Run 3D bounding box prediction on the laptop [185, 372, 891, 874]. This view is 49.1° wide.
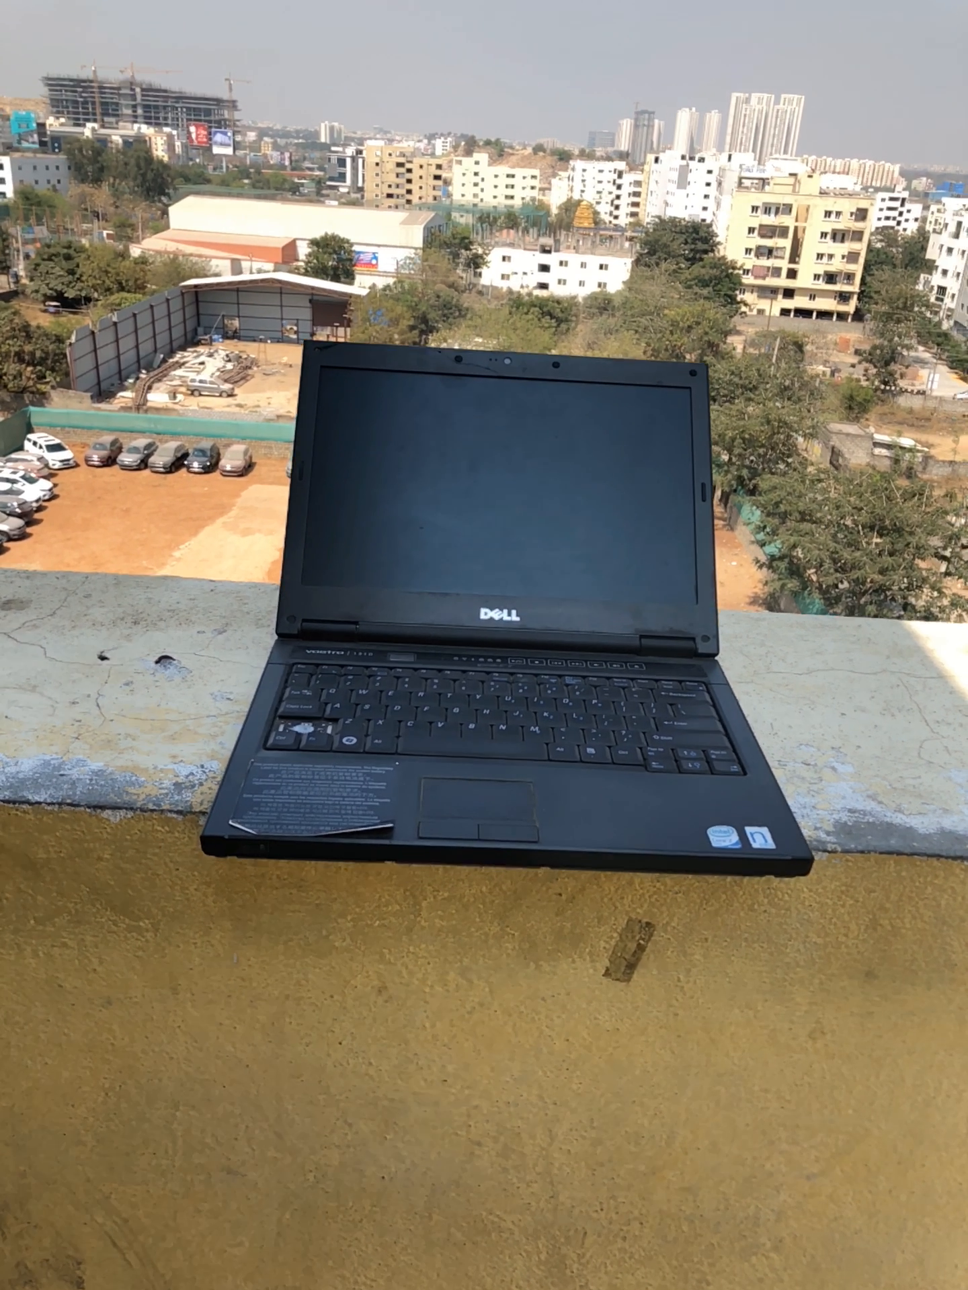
[{"bbox_3d":[0.022,-0.045,0.662,0.301,0.178,0.378,2,24,-1],"label":"laptop"}]
